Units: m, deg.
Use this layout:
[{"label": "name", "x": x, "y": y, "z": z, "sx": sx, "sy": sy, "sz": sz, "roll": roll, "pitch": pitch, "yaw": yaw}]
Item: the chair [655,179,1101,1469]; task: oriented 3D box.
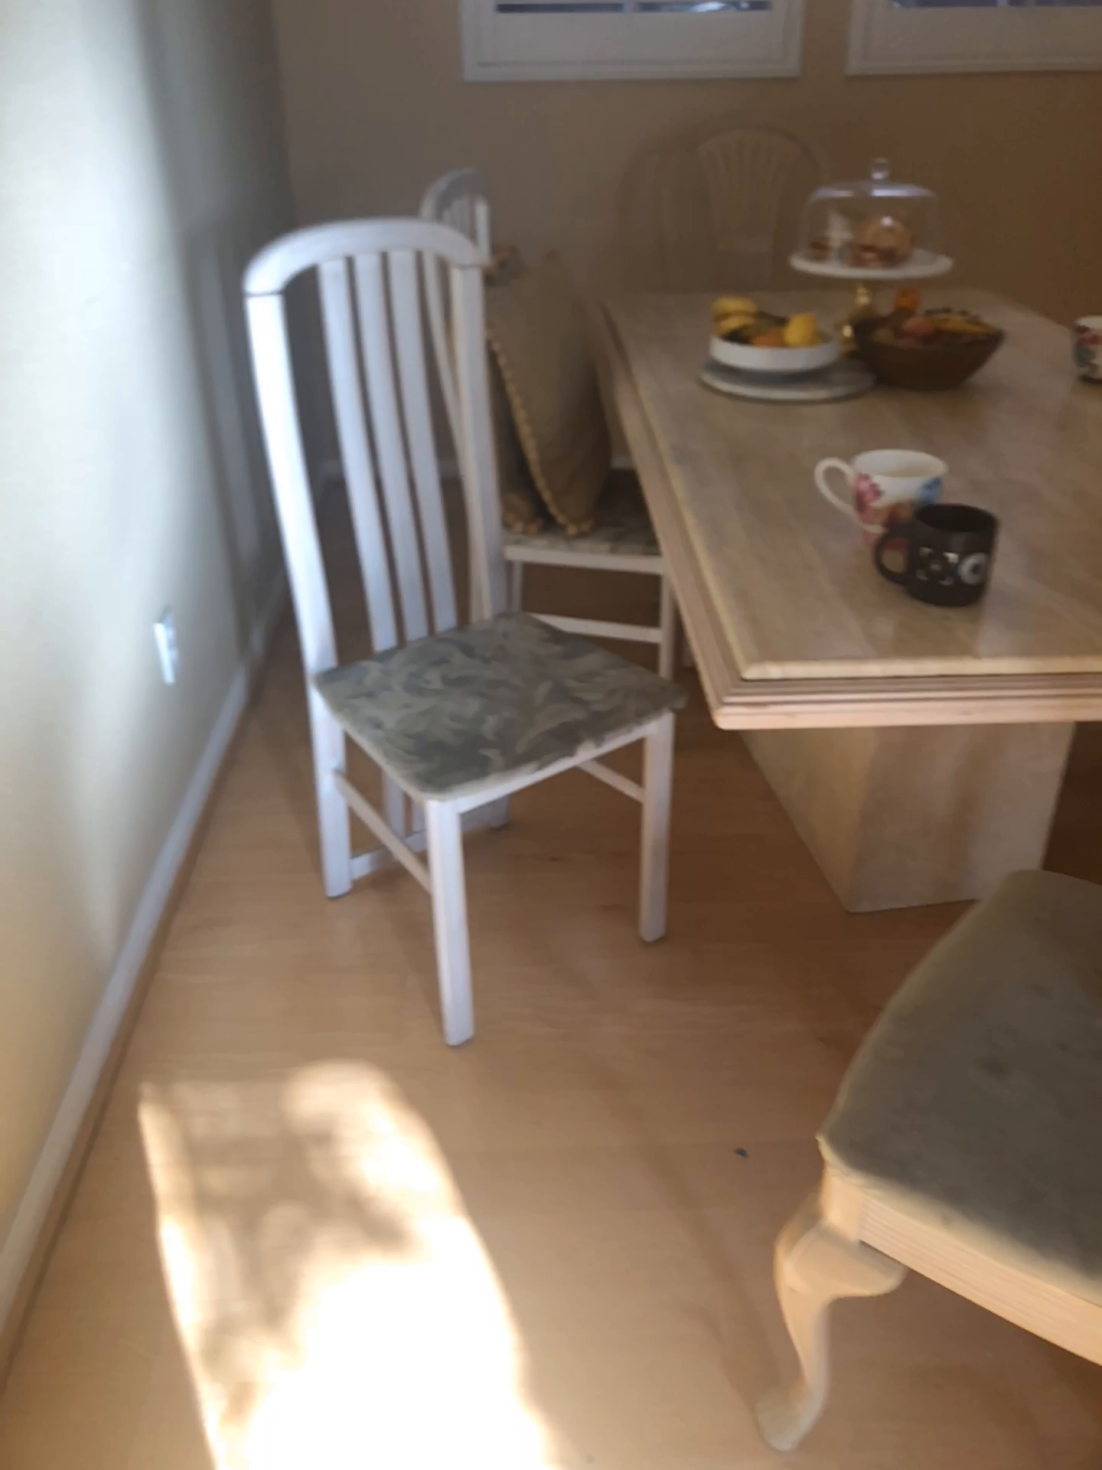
[{"label": "chair", "x": 0.558, "y": 0.276, "z": 1.076, "sx": 0.631, "sy": 1.289, "sz": 0.594, "roll": 23, "pitch": 38, "yaw": 31}]

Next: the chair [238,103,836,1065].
[{"label": "chair", "x": -0.018, "y": -0.290, "z": 2.168, "sx": 0.633, "sy": 1.449, "sz": 0.672, "roll": -19, "pitch": 33, "yaw": -29}]
